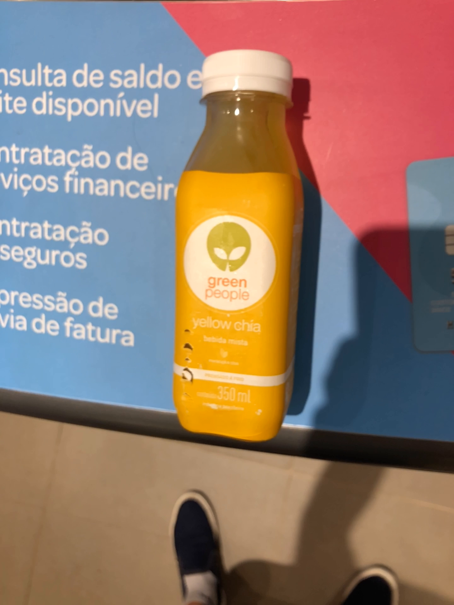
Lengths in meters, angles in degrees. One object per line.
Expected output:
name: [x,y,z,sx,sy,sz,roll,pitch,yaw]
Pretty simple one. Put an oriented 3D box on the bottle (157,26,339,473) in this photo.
bottle: [0.011,-0.022,0.242,0.060,0.060,0.180,7,101,14]
